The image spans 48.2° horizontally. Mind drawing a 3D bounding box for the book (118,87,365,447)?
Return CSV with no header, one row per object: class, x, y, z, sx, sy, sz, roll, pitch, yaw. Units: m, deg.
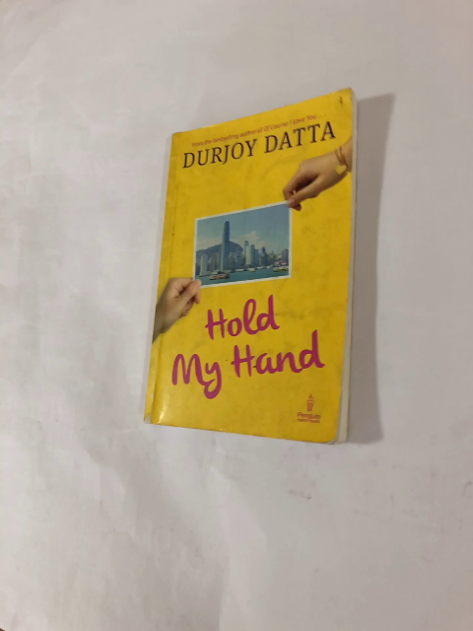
book,0.001,-0.027,0.312,0.141,0.020,0.190,-2,78,29
